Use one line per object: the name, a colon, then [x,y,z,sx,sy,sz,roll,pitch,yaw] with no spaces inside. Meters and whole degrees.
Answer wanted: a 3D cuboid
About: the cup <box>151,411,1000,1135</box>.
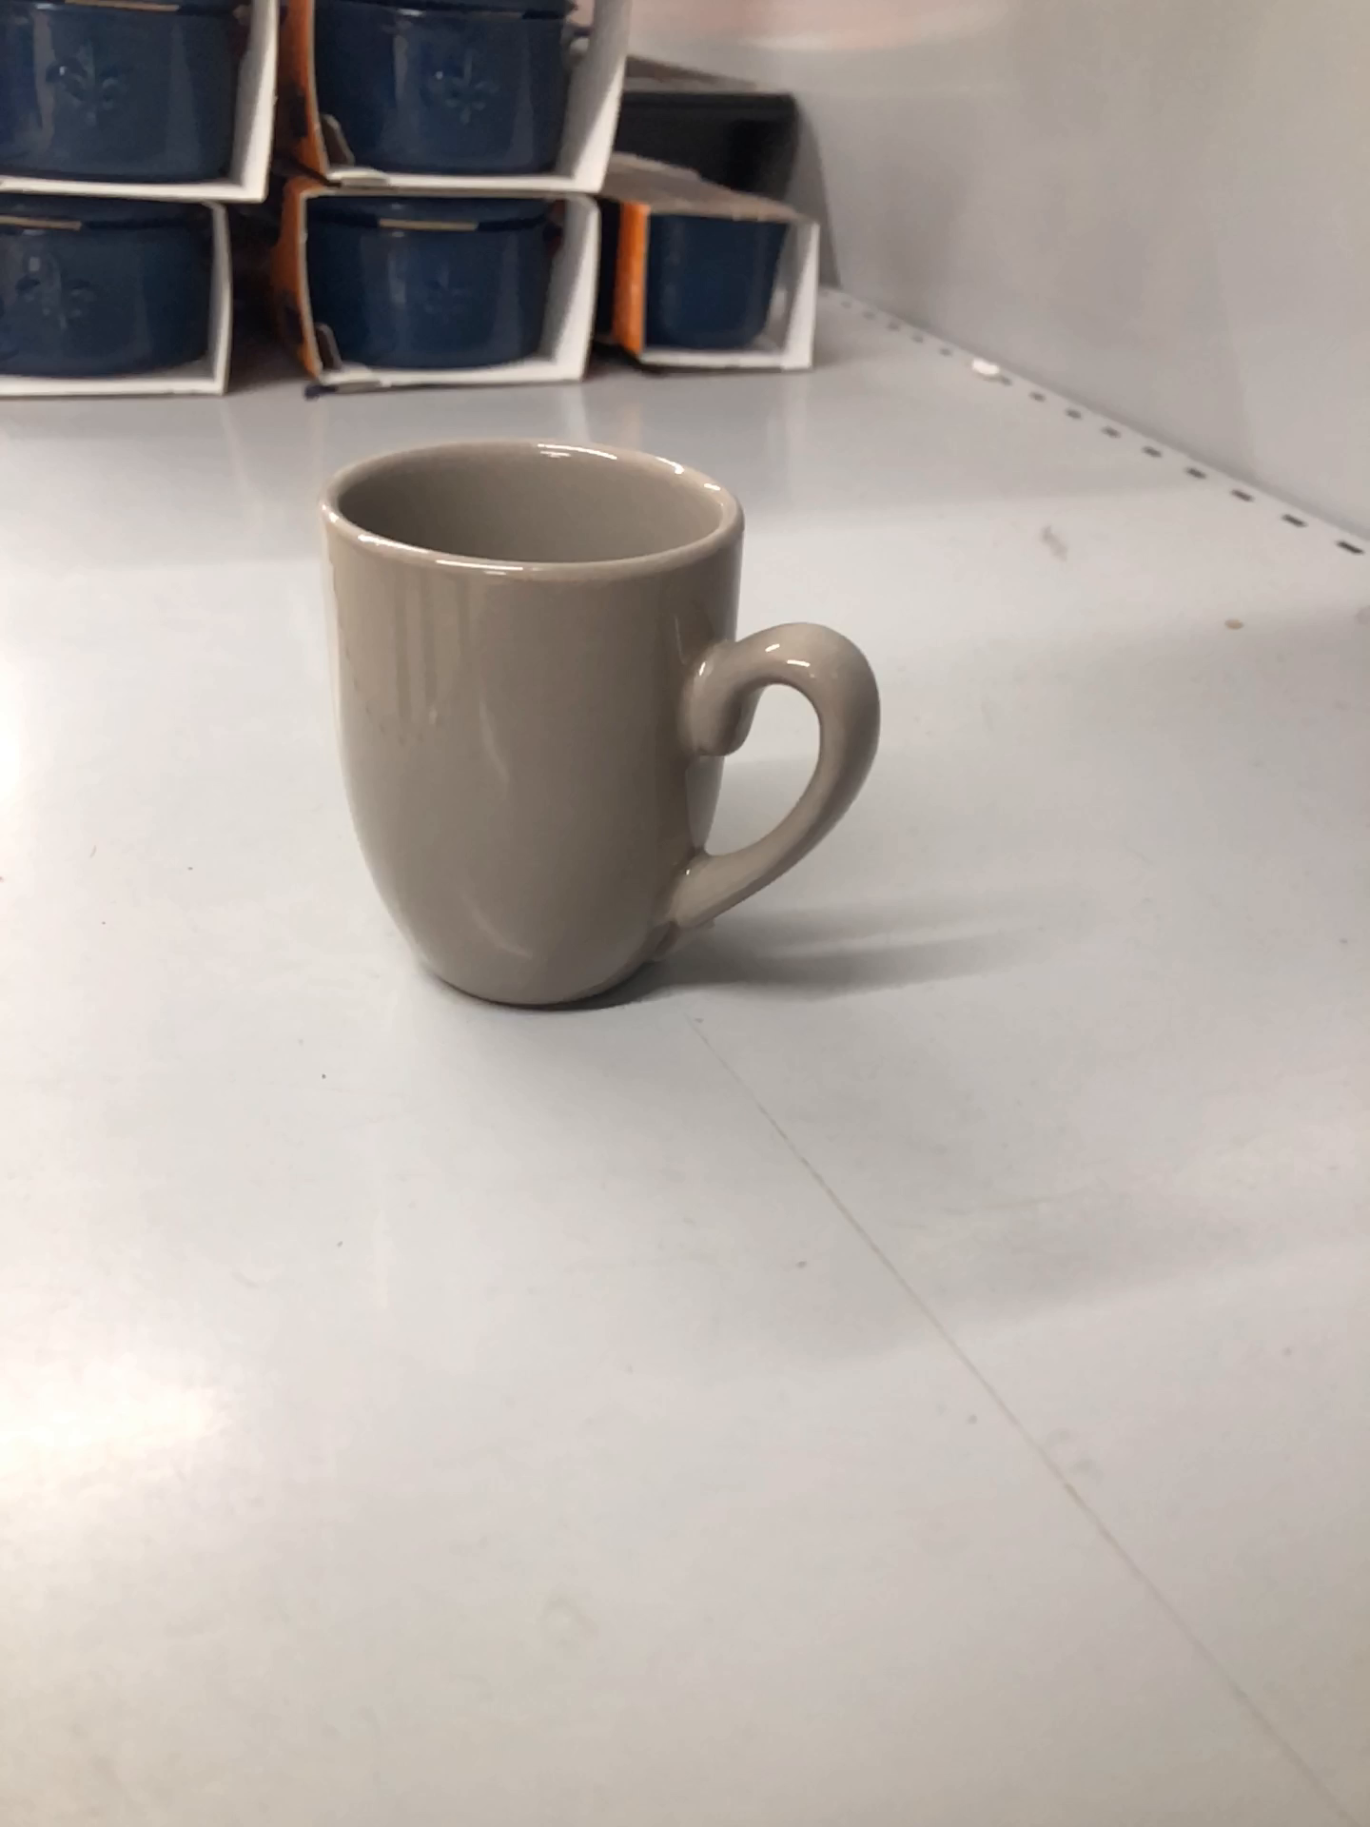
cup: [-0.014,-0.026,0.217,0.091,0.062,0.065,18,35,23]
